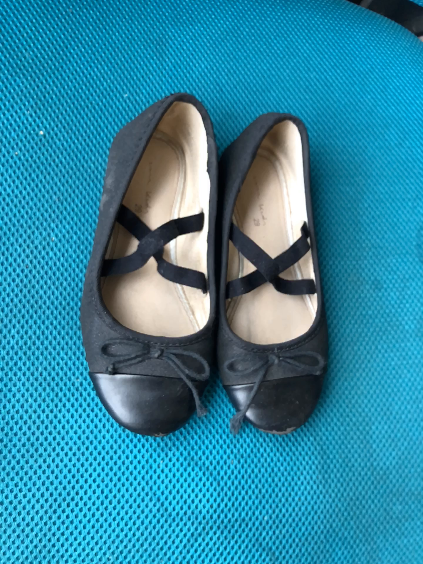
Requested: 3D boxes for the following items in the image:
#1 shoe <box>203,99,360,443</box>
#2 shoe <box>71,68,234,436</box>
[{"bbox_3d":[0.037,-0.007,0.289,0.069,0.050,0.190,1,79,-16],"label":"shoe"},{"bbox_3d":[-0.034,-0.016,0.275,0.081,0.050,0.194,3,78,-15],"label":"shoe"}]
